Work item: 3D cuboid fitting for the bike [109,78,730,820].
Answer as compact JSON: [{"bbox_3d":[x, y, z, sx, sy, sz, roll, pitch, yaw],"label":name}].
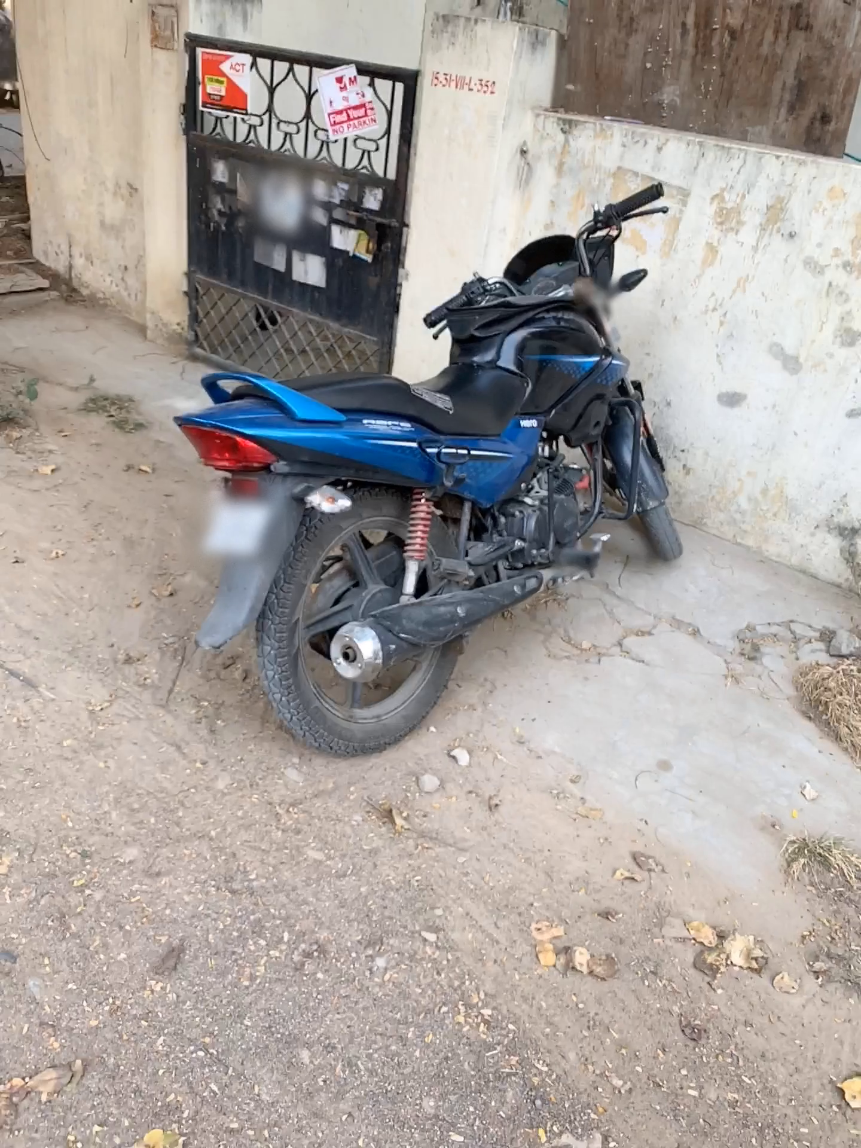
[{"bbox_3d":[0.037,-0.553,2.402,0.755,1.233,1.711,24,37,25],"label":"bike"}]
